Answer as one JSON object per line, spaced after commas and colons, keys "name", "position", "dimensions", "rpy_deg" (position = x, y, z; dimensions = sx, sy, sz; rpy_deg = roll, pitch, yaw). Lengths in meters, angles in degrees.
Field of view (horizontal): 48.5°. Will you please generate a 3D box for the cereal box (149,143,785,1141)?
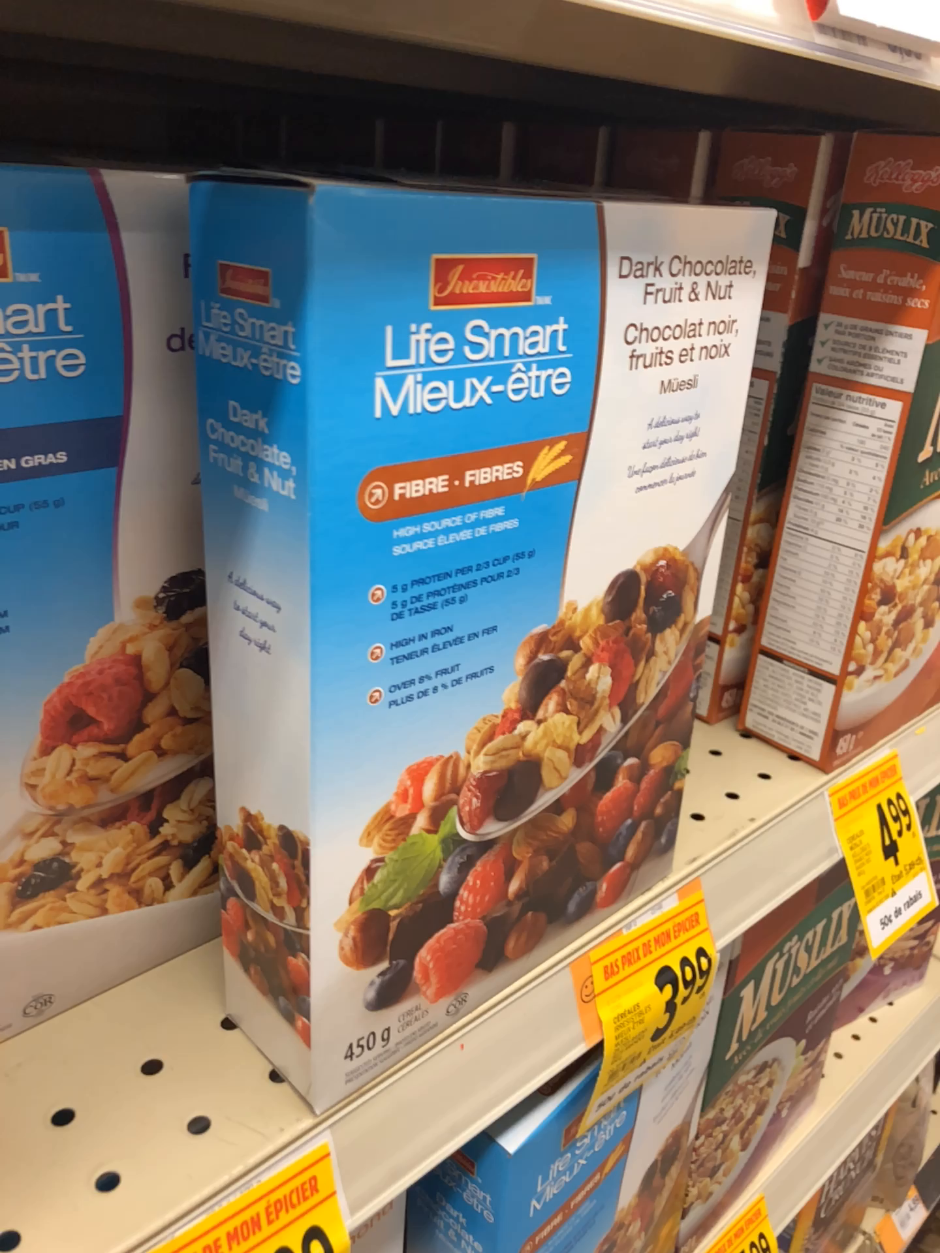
{"name": "cereal box", "position": [0.004, -0.002, 0.302], "dimensions": [0.171, 0.238, 0.050], "rpy_deg": [-18, 32, -42]}
